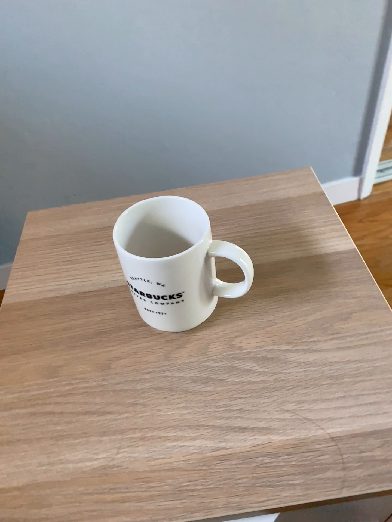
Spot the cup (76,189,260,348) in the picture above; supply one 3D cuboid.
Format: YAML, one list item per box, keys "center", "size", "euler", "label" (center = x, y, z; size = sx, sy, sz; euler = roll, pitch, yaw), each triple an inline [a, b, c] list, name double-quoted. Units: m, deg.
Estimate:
- center: [-0.017, 0.002, 0.371]
  size: [0.130, 0.080, 0.100]
  euler: [9, 48, 17]
  label: "cup"
